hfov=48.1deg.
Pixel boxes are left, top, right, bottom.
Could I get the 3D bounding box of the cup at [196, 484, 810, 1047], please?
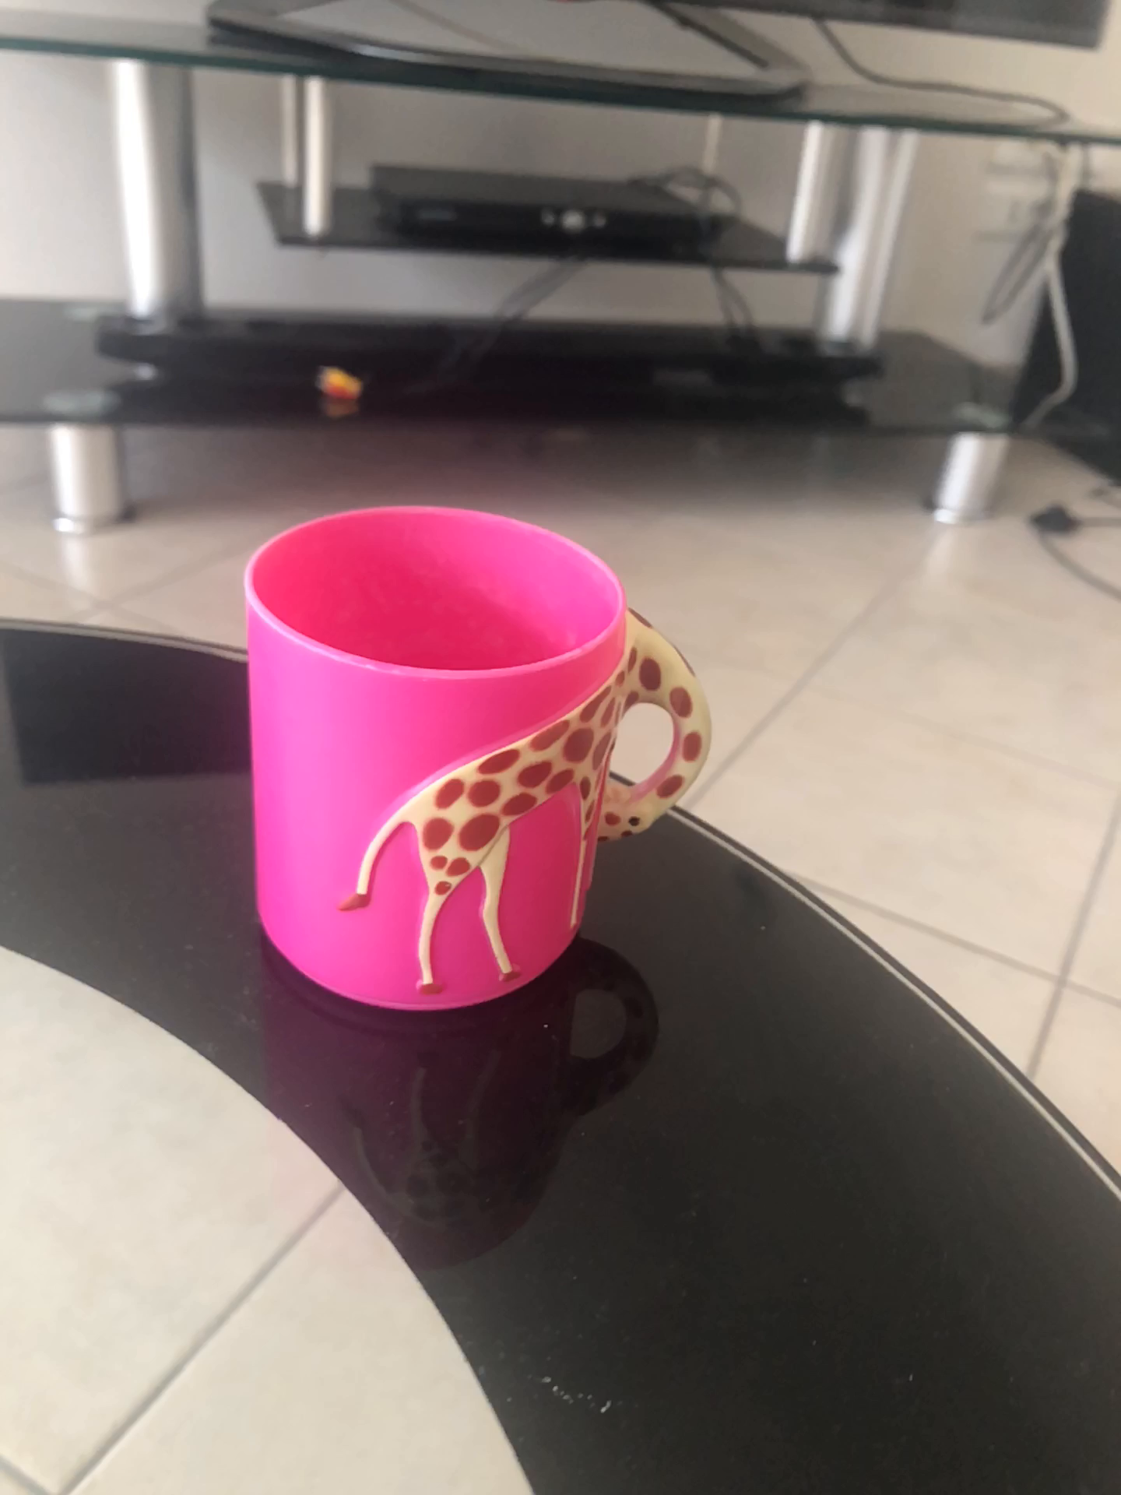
[{"bbox_3d":[-0.016,-0.003,0.240,0.090,0.070,0.070,-8,34,-23],"label":"cup"}]
